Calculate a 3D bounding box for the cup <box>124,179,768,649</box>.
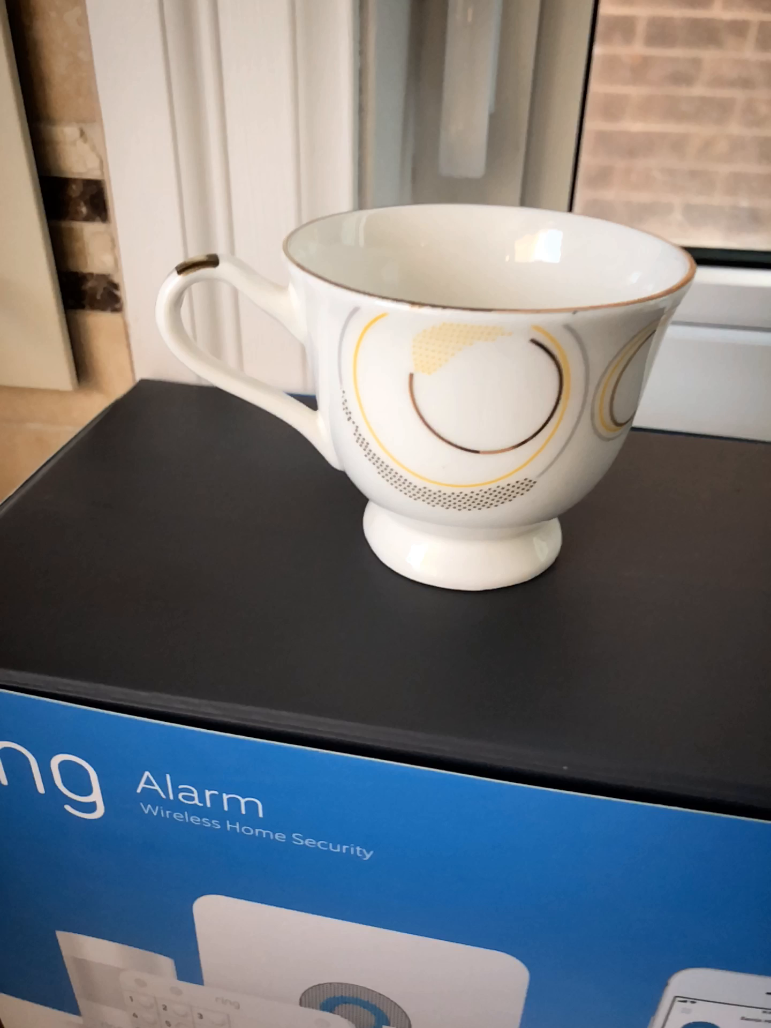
[{"bbox_3d":[0.012,-0.026,0.185,0.100,0.066,0.077,4,33,5],"label":"cup"}]
